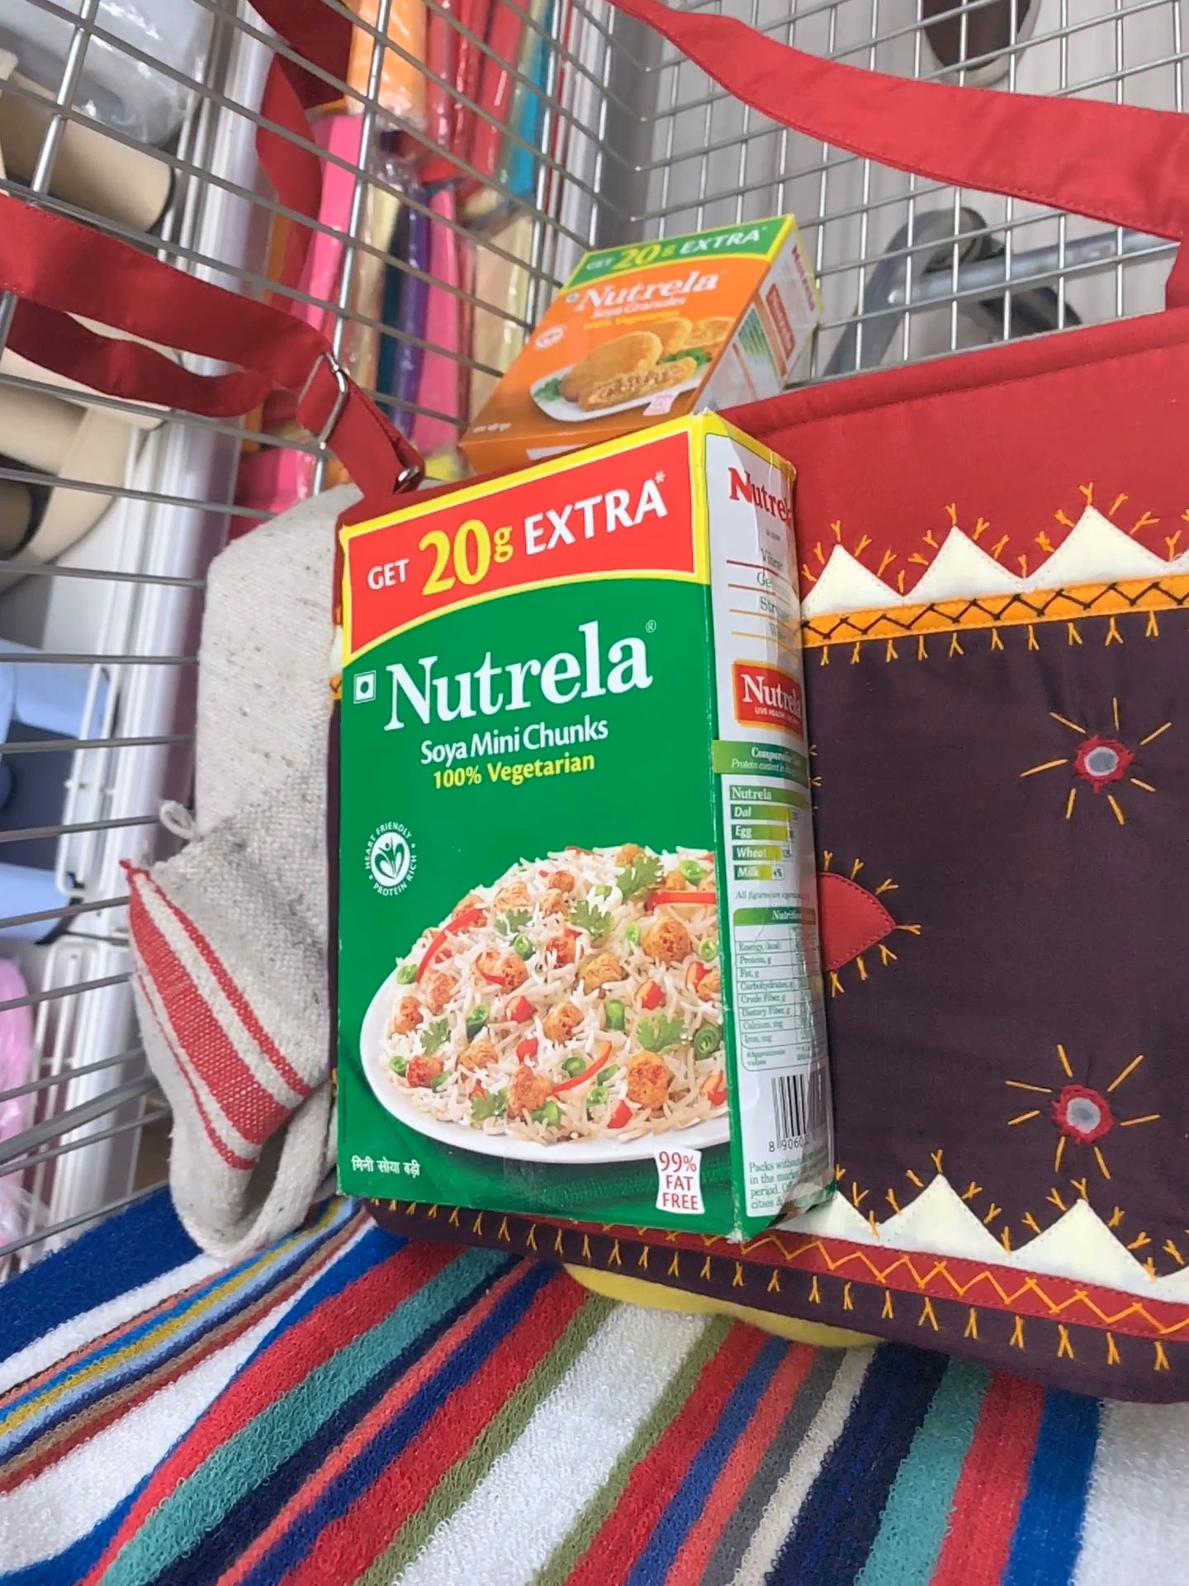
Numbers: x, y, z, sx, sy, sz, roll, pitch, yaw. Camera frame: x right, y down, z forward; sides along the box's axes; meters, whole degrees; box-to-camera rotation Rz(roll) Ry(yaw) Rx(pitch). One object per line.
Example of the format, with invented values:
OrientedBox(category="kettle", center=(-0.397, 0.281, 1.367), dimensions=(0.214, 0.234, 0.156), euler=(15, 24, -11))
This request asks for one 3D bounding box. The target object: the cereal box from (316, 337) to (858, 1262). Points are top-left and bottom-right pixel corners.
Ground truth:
OrientedBox(category="cereal box", center=(-0.008, 0.006, 0.304), dimensions=(0.121, 0.050, 0.190), euler=(-8, 80, 35))
